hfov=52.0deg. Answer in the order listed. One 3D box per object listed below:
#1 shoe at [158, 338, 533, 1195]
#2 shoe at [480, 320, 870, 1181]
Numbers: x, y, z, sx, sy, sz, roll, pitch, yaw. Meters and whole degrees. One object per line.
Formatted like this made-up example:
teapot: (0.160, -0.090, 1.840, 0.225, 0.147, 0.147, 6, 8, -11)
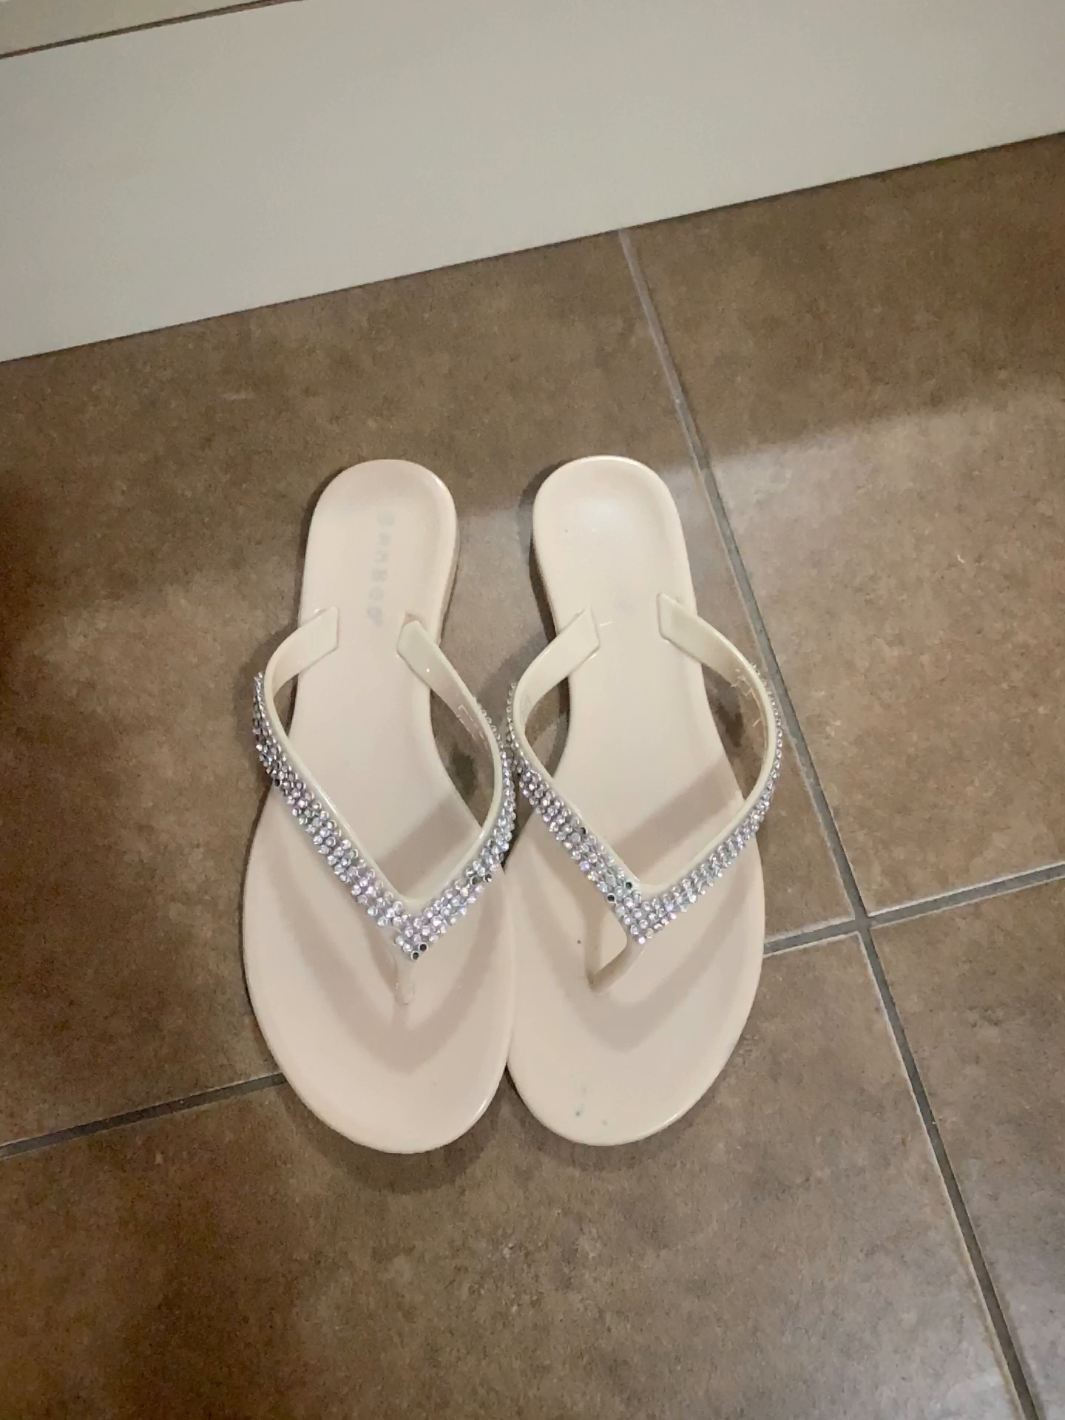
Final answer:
shoe: (-0.052, 0.012, 0.344, 0.093, 0.067, 0.249, -3, 72, 1)
shoe: (0.034, 0.007, 0.341, 0.091, 0.067, 0.249, -3, 72, 1)
